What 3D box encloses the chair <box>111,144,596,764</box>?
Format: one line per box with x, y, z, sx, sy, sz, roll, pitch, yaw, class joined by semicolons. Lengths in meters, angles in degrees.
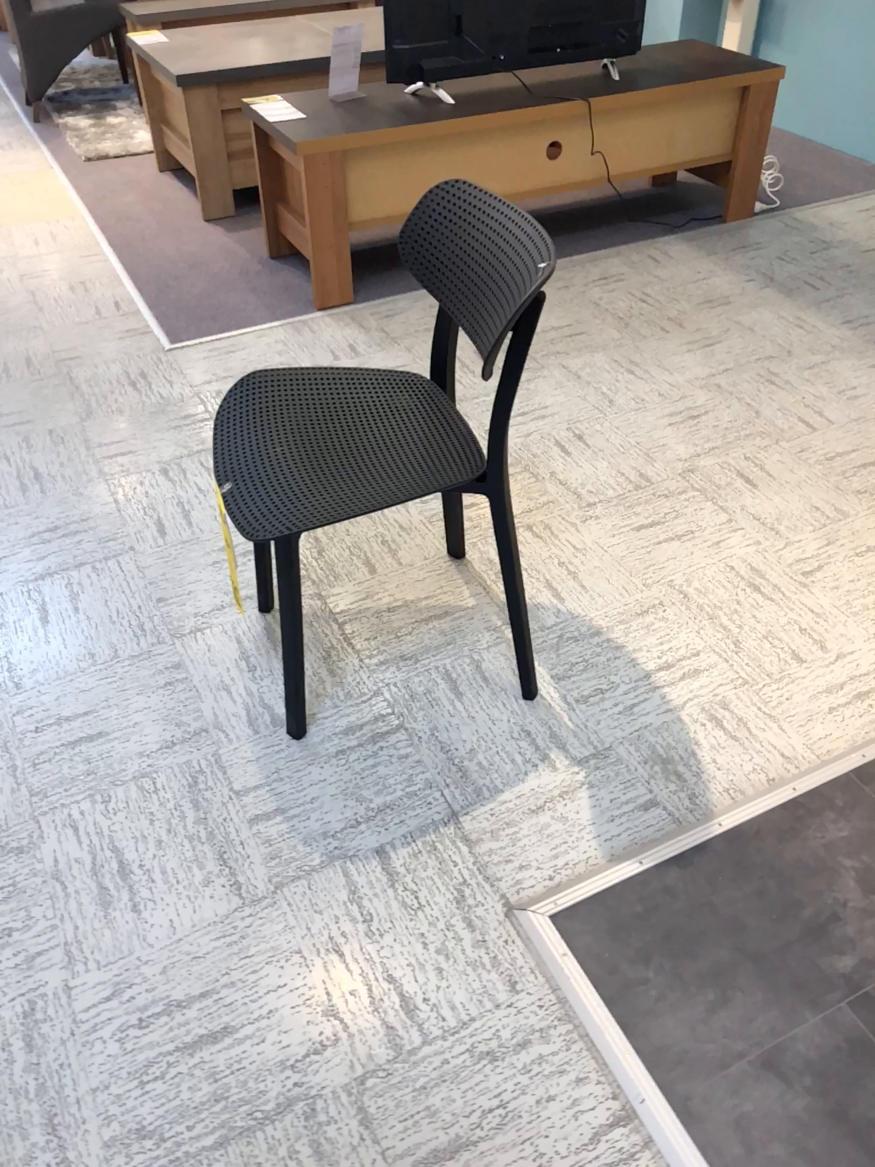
-0.138;-0.212;1.474;0.521;0.686;0.542;-13;41;-13;chair
